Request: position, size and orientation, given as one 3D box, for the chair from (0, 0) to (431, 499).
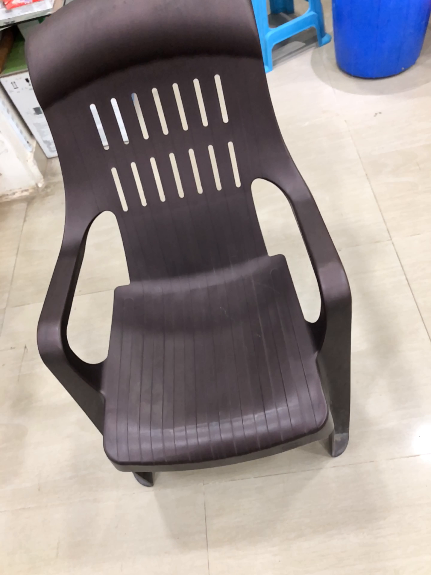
[{"bbox_3d":[-0.062,-0.051,1.007,0.630,0.846,0.683,-11,54,5],"label":"chair"}]
